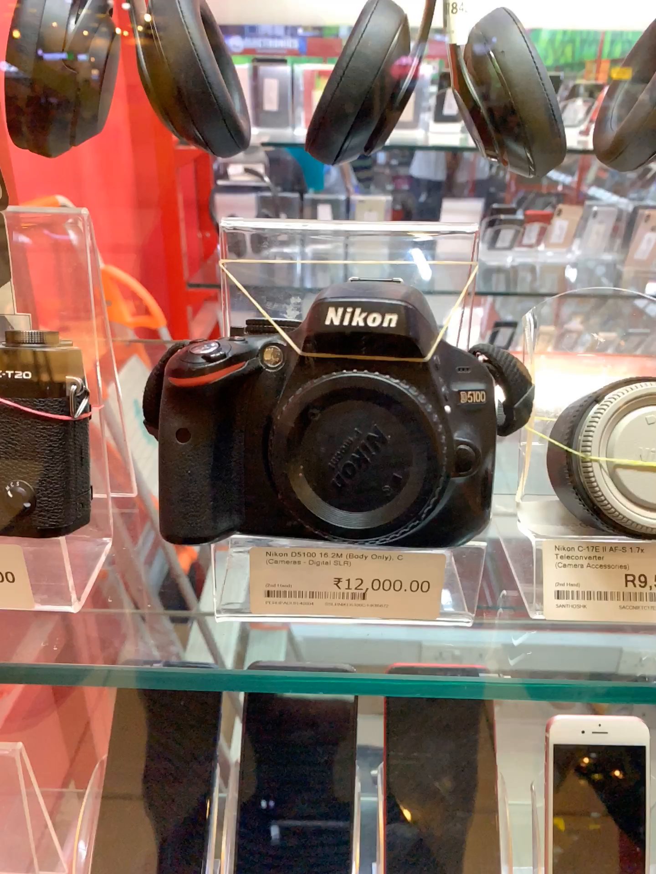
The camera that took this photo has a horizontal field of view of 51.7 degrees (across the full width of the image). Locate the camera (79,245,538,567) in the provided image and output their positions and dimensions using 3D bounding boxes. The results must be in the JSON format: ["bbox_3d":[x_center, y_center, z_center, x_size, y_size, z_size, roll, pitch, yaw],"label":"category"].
[{"bbox_3d":[-0.006,-0.014,0.243,0.130,0.090,0.070,2,27,1],"label":"camera"}]
